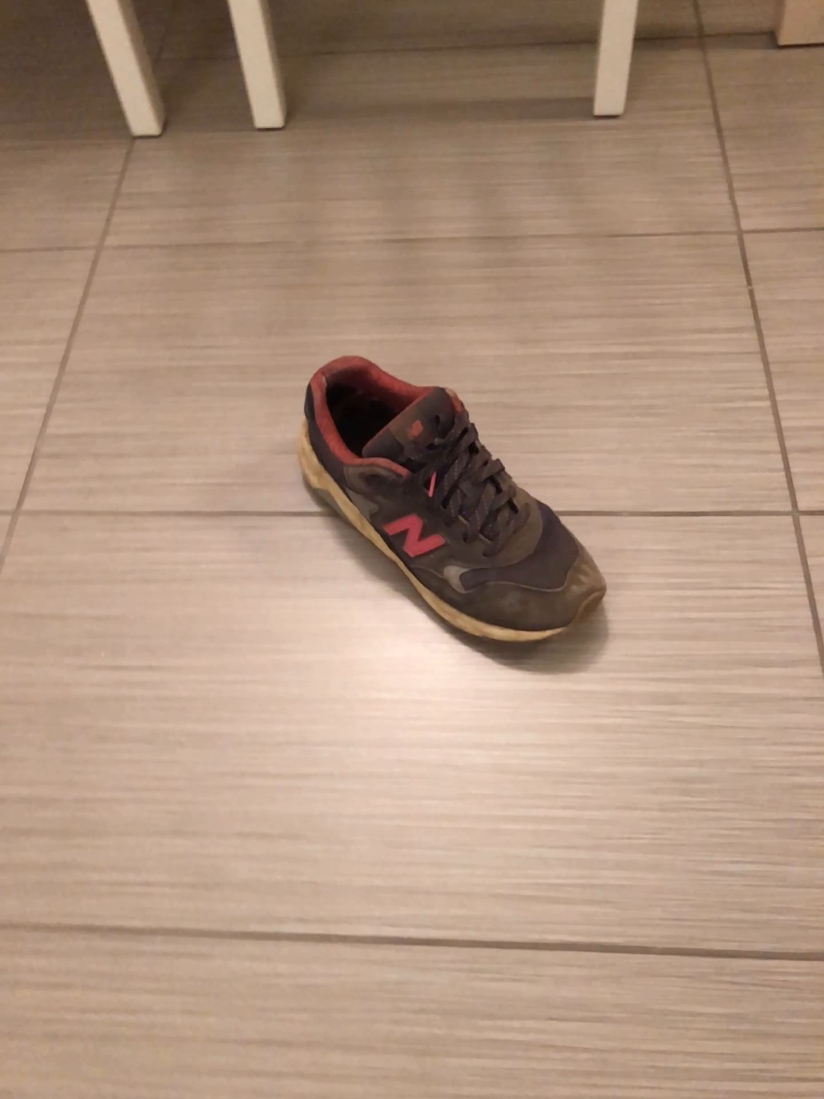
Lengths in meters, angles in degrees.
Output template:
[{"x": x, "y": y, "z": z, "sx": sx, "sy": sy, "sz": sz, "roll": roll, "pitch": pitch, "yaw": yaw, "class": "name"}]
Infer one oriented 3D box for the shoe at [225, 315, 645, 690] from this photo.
[{"x": 0.010, "y": -0.042, "z": 0.633, "sx": 0.270, "sy": 0.070, "sz": 0.120, "roll": 38, "pitch": 69, "yaw": 24, "class": "shoe"}]
